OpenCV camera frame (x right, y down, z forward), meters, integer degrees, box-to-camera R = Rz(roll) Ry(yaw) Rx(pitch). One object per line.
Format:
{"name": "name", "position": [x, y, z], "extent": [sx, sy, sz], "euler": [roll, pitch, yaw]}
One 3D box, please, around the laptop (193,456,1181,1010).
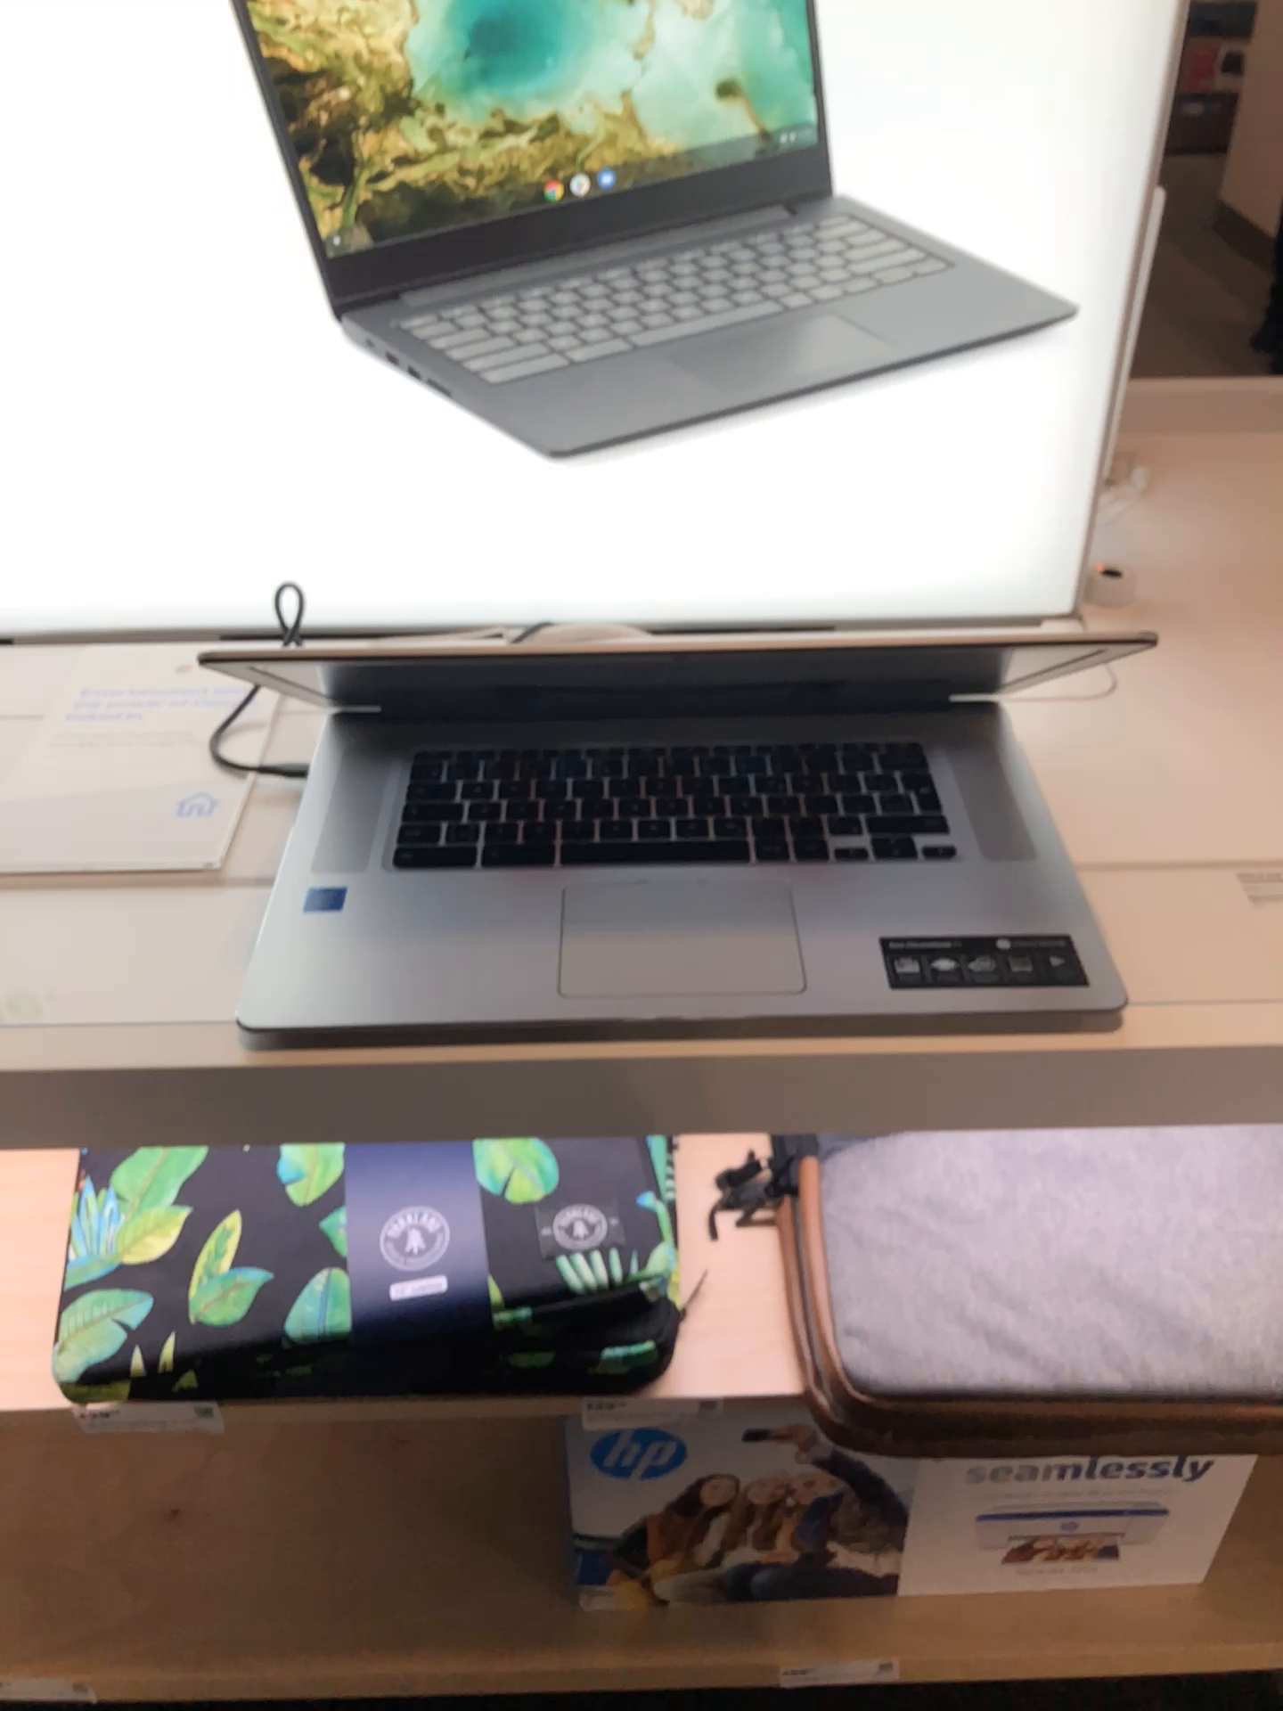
{"name": "laptop", "position": [0.017, -0.068, 0.656], "extent": [0.364, 0.146, 0.232], "euler": [-1, 38, -3]}
